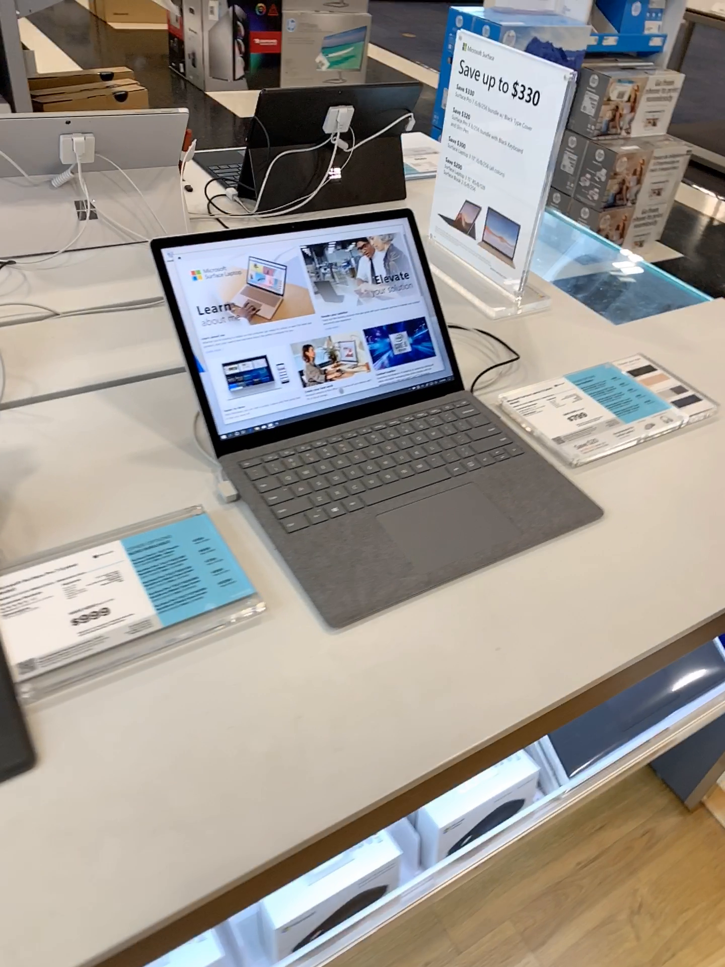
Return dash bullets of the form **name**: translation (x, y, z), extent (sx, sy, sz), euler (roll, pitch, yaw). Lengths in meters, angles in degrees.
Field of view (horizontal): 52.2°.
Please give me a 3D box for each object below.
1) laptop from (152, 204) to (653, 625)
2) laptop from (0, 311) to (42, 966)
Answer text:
- **laptop**: translation (0.013, -0.104, 0.707), extent (0.296, 0.148, 0.375), euler (-18, 48, -27)
- **laptop**: translation (-0.398, 0.063, 0.428), extent (0.289, 0.157, 0.291), euler (-20, 48, -29)
